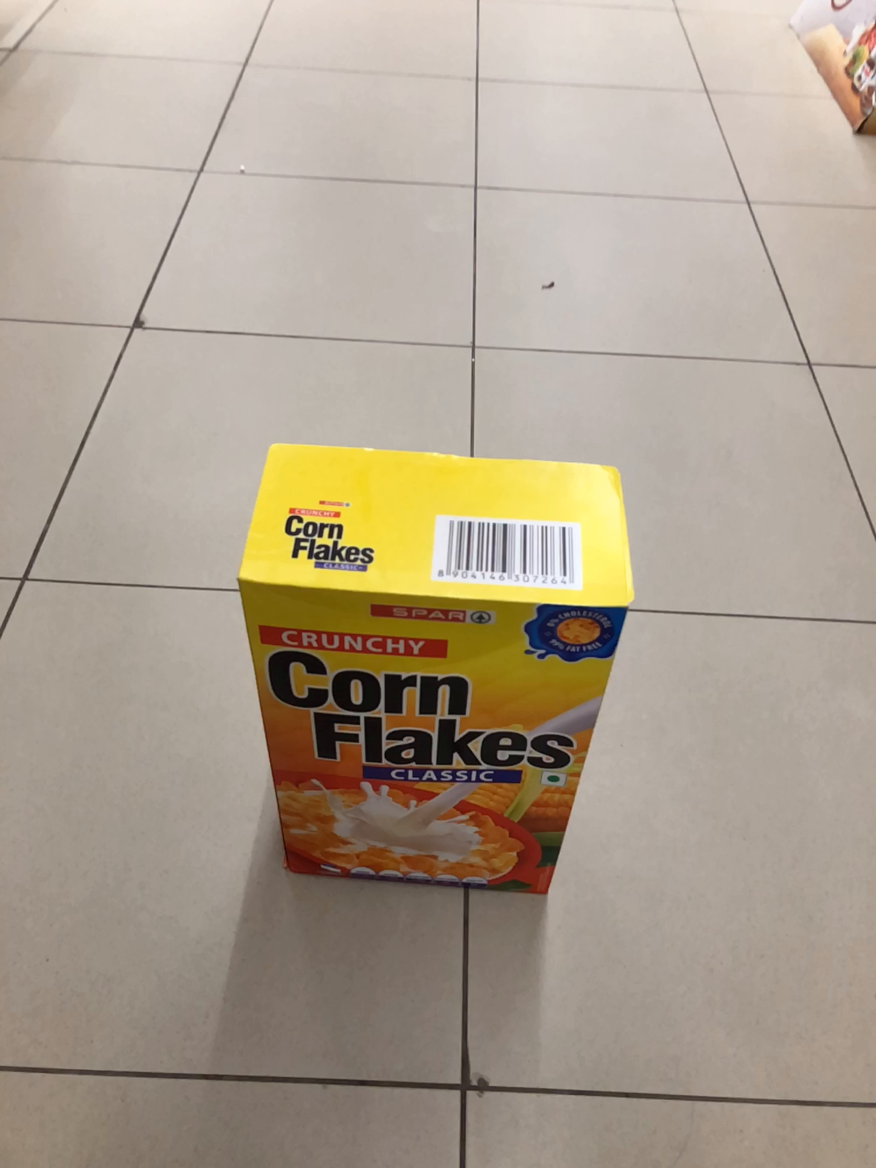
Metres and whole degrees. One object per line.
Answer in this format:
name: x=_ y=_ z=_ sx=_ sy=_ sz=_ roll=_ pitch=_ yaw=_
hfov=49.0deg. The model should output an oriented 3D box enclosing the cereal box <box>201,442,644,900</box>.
cereal box: x=-0.010 y=0.070 z=0.577 sx=0.200 sy=0.299 sz=0.100 roll=4 pitch=48 yaw=0
